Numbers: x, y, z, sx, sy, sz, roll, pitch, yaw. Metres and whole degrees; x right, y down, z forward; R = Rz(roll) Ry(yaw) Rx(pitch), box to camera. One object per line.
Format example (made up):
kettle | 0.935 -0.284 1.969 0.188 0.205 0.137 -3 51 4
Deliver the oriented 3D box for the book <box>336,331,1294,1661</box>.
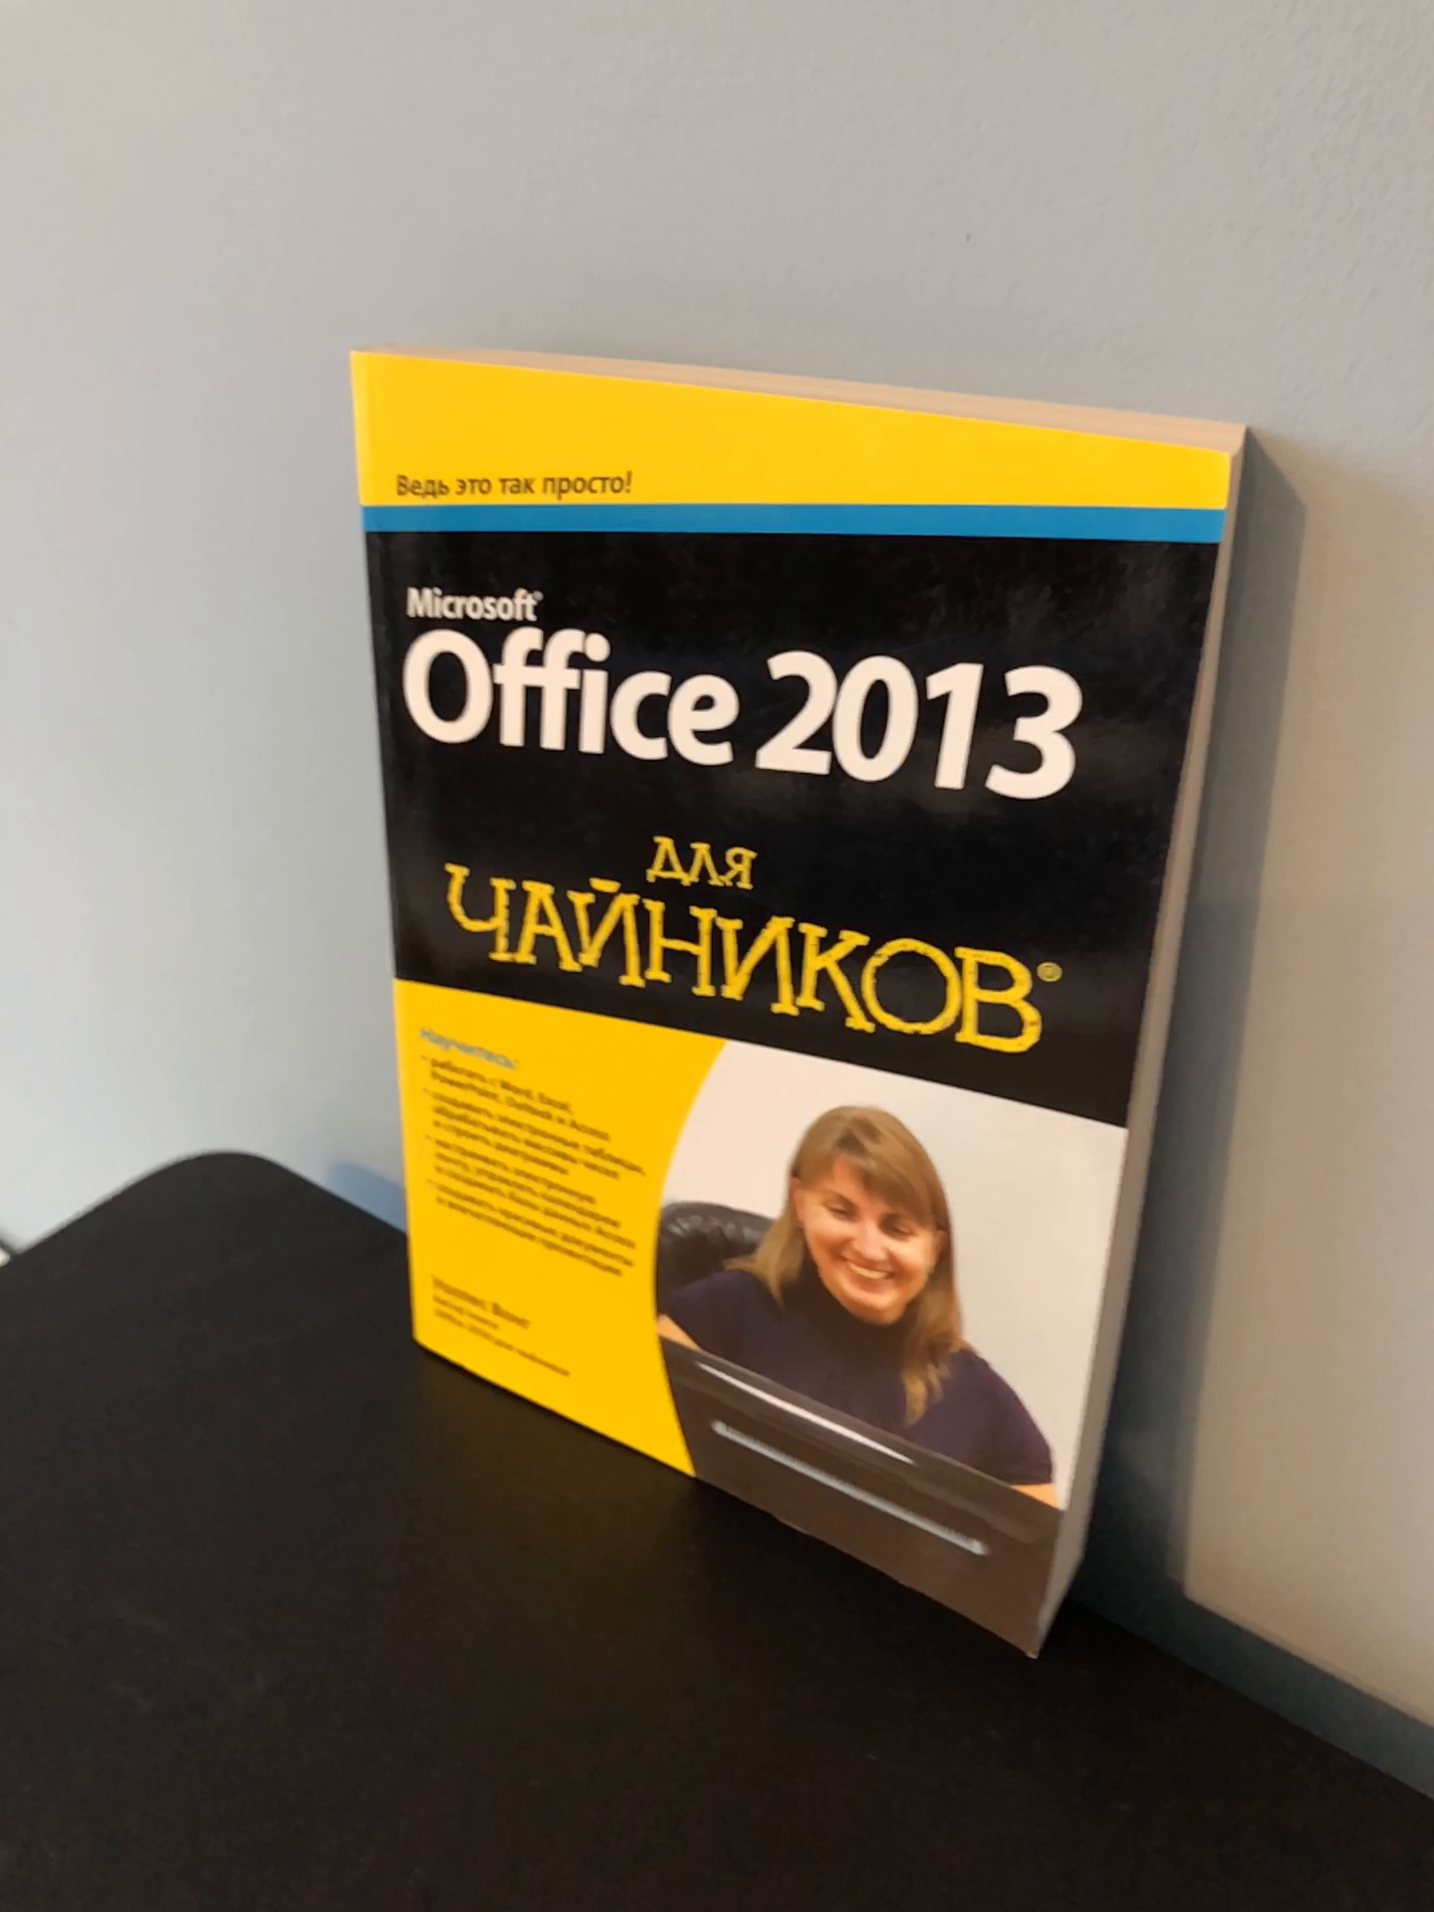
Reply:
book | 0.006 0.008 0.314 0.165 0.232 0.031 17 30 29
